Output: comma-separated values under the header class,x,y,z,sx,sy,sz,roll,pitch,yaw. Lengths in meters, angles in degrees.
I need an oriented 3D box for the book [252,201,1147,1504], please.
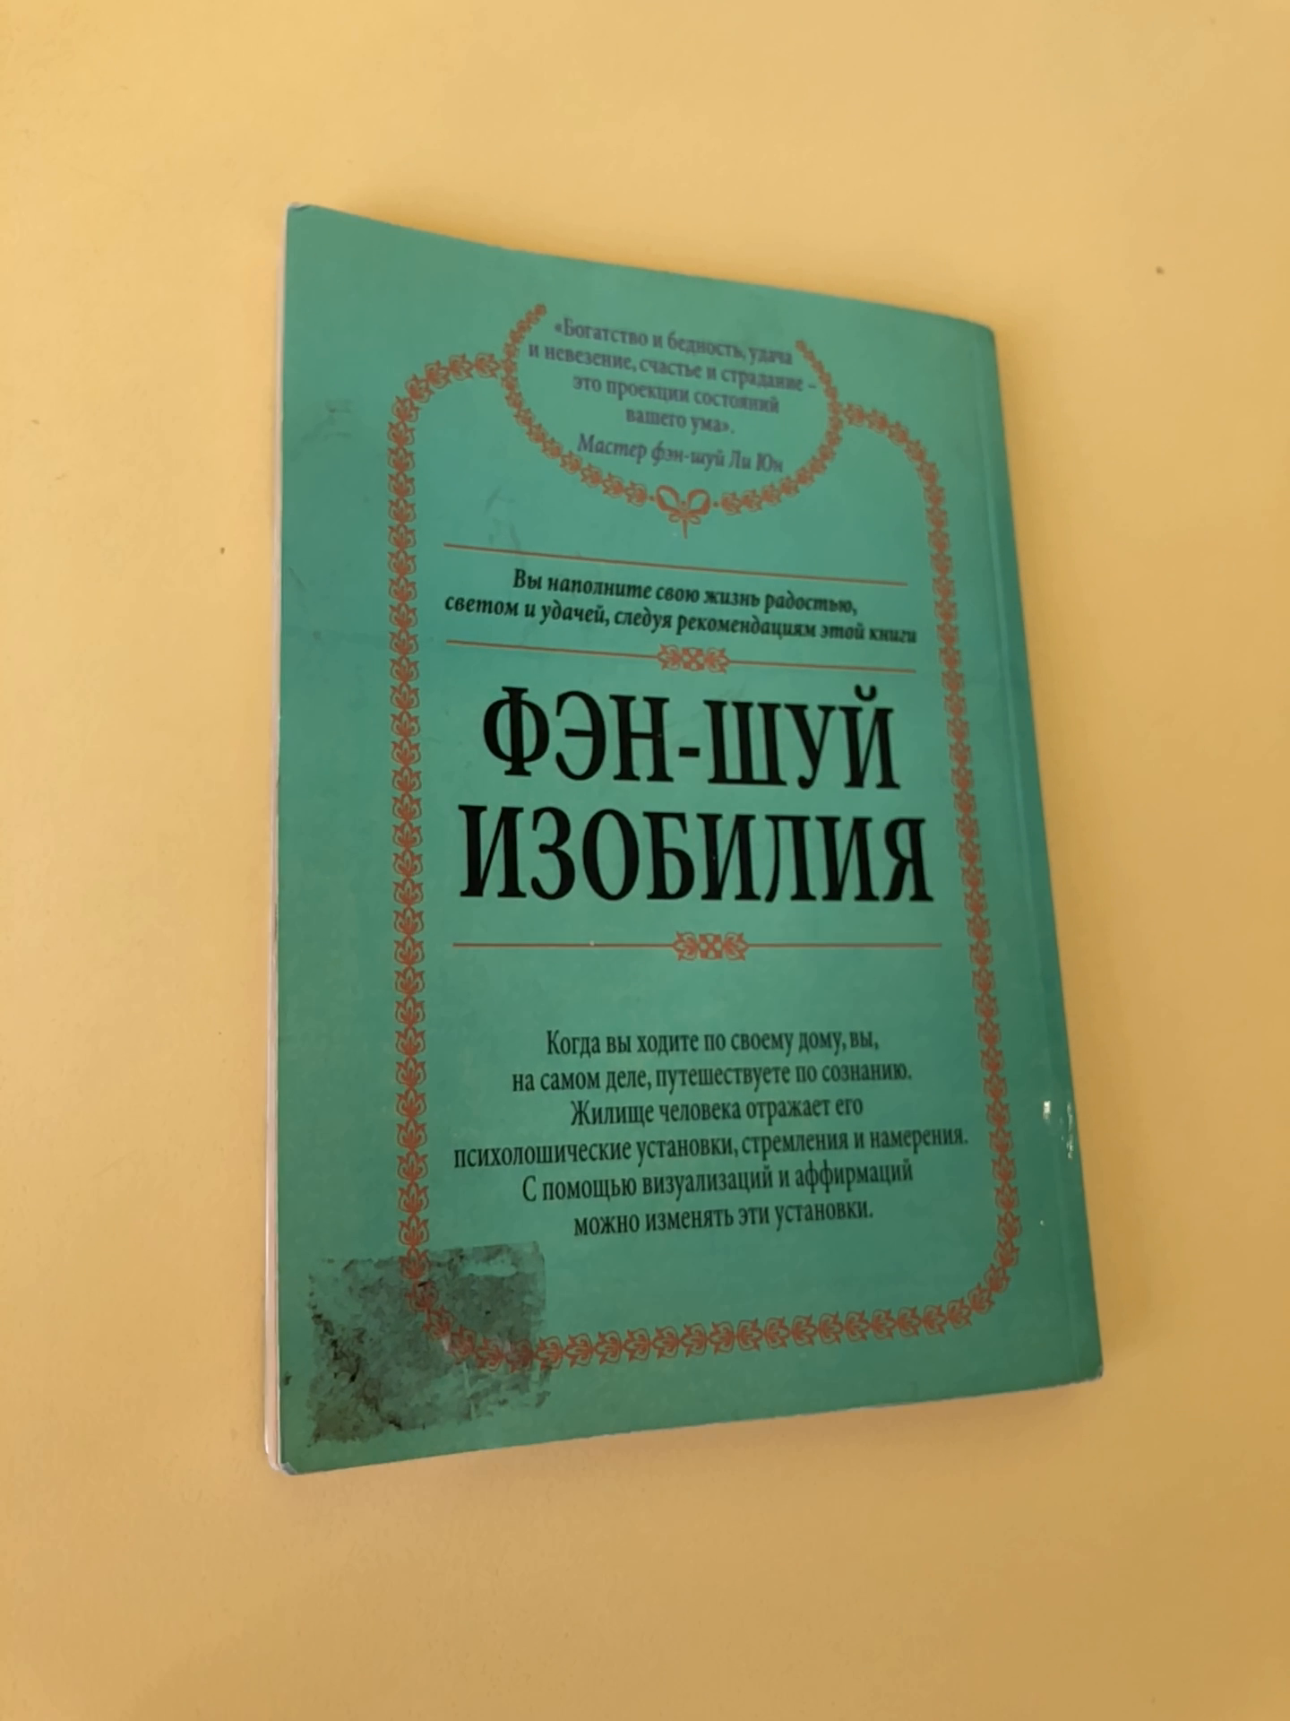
class,x,y,z,sx,sy,sz,roll,pitch,yaw
book,0.005,-0.006,0.208,0.118,0.020,0.166,1,76,-19
